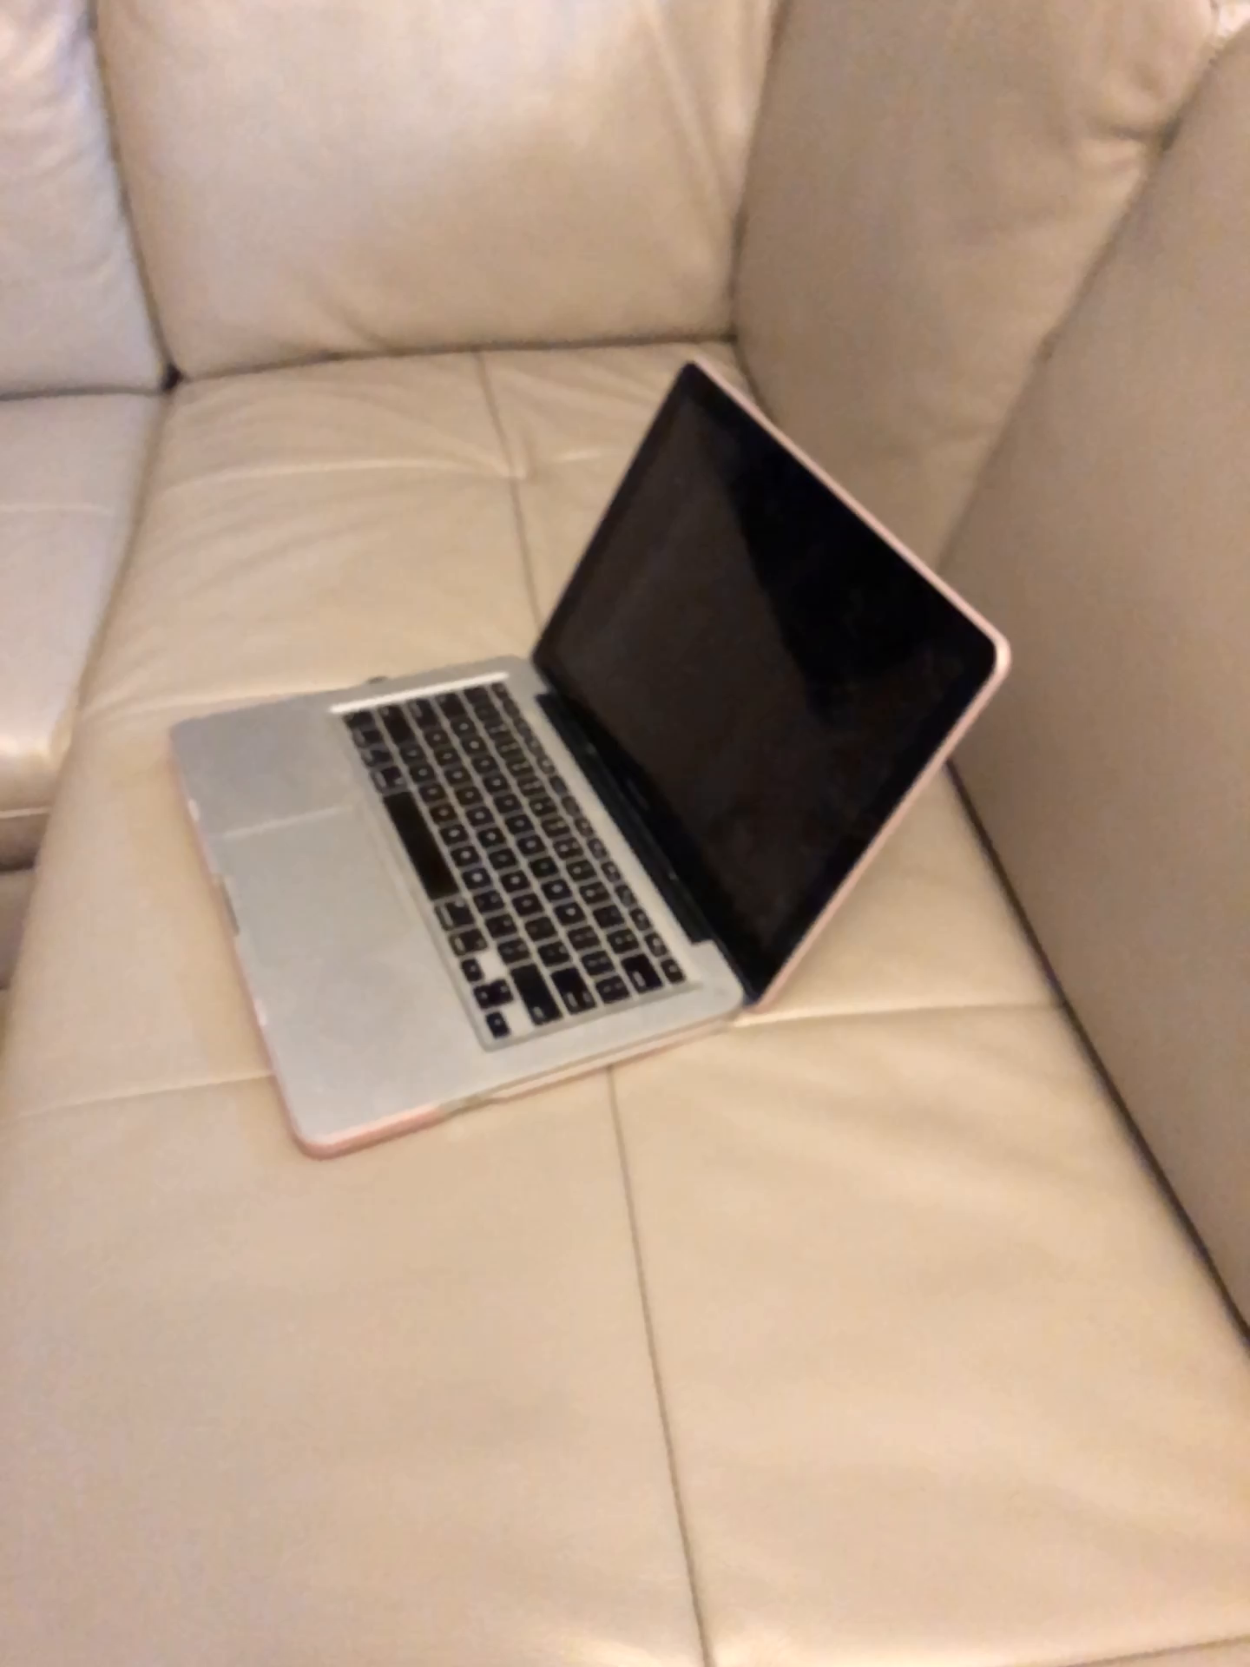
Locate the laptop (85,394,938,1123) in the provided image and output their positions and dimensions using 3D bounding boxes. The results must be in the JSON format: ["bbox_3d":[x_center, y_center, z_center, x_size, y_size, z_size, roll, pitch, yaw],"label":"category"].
[{"bbox_3d":[-0.064,-0.064,0.698,0.305,0.177,0.307,-13,44,-21],"label":"laptop"}]
